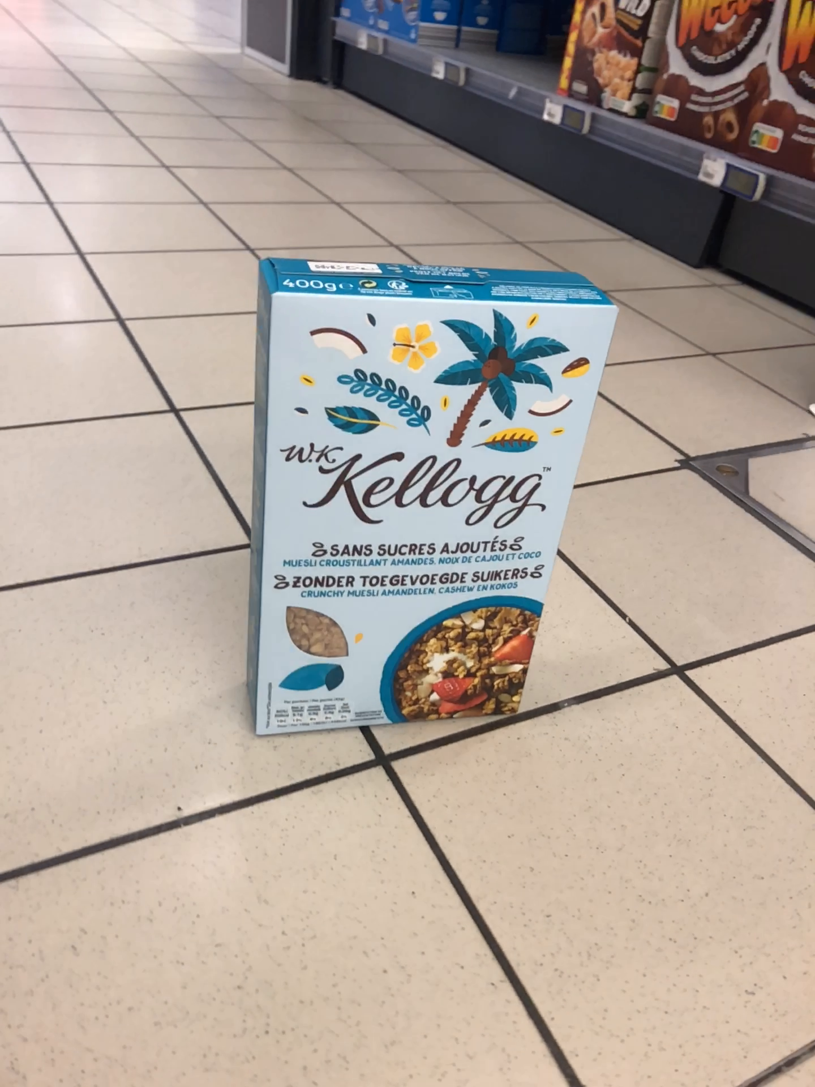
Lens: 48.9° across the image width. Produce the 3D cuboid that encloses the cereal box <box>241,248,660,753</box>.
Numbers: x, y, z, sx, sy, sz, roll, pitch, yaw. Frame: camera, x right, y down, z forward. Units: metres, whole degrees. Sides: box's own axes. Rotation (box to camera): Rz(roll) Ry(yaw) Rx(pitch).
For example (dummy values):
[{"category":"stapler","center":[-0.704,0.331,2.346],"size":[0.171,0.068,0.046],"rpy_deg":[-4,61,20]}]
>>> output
[{"category":"cereal box","center":[0.006,-0.010,0.430],"size":[0.160,0.239,0.050],"rpy_deg":[-2,34,-15]}]
